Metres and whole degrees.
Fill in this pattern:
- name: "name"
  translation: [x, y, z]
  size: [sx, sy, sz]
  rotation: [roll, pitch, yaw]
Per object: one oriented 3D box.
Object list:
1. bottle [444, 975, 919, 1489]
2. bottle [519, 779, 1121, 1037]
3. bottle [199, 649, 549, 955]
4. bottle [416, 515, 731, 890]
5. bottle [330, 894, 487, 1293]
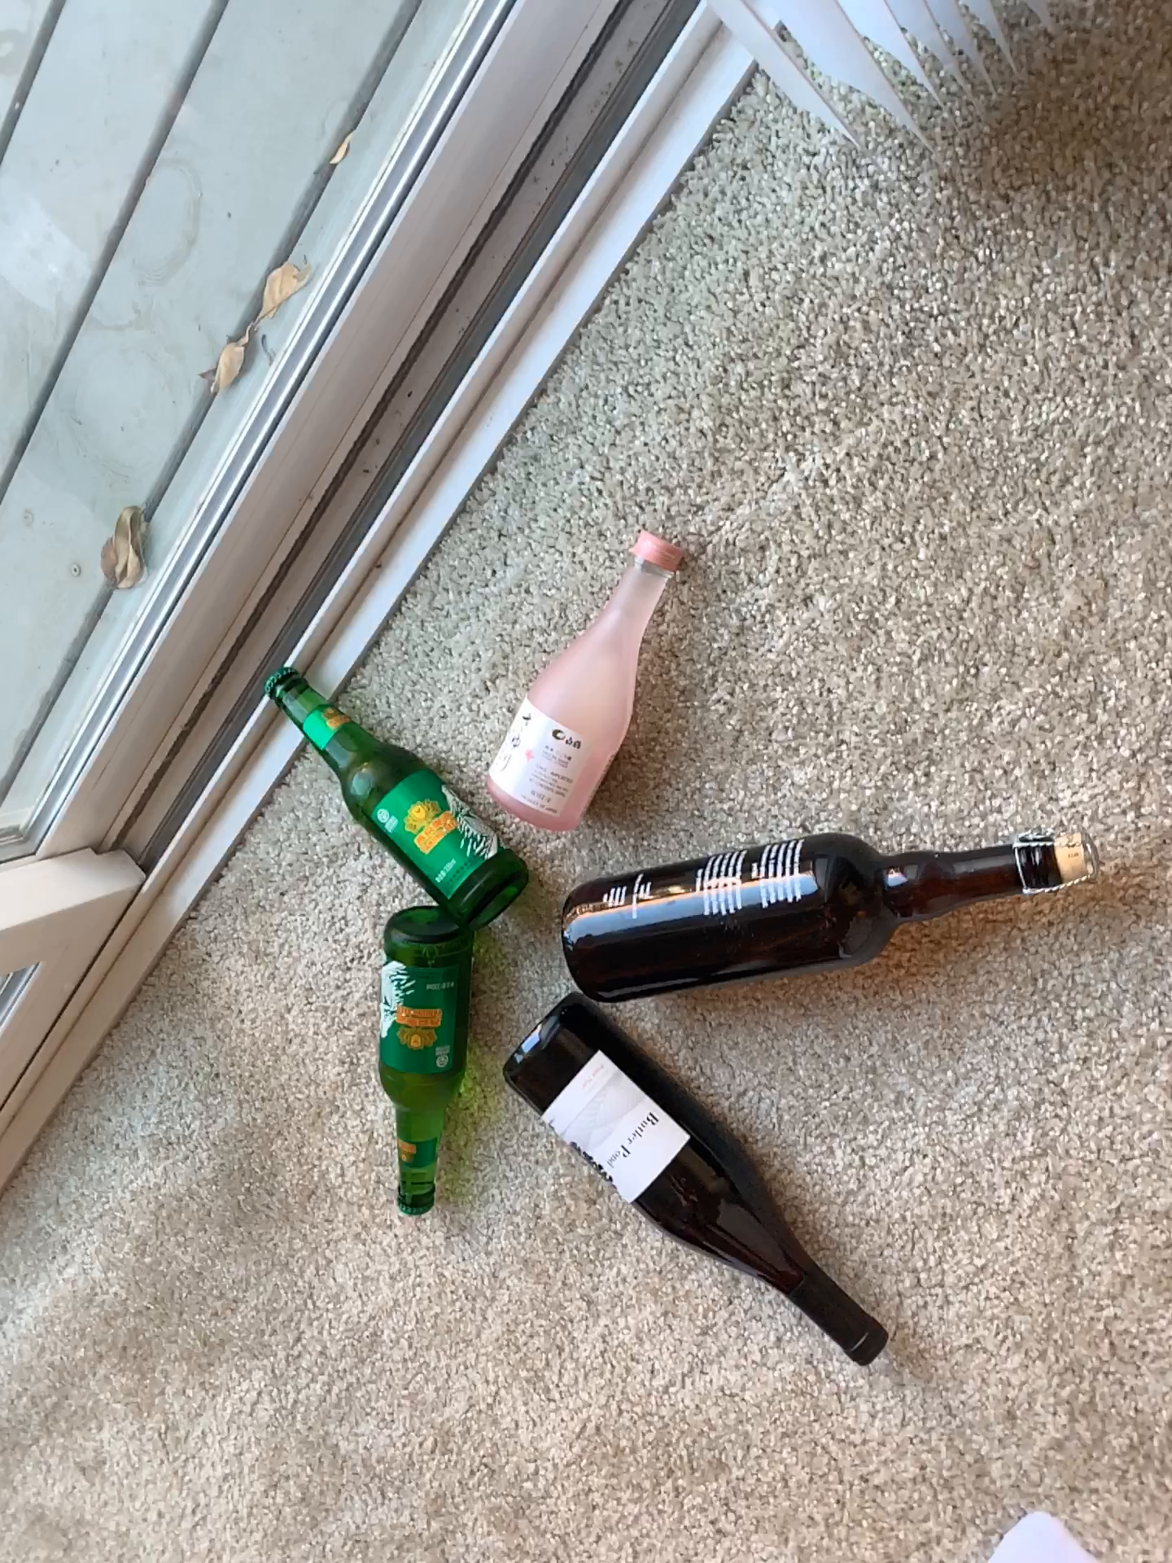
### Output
- name: "bottle"
  translation: [0.056, 0.262, 0.730]
  size: [0.300, 0.090, 0.070]
  rotation: [45, 116, 12]
- name: "bottle"
  translation: [0.122, 0.075, 0.669]
  size: [0.312, 0.090, 0.070]
  rotation: [-15, 94, 29]
- name: "bottle"
  translation: [-0.143, 0.007, 0.800]
  size: [0.230, 0.080, 0.060]
  rotation: [40, 115, 15]
- name: "bottle"
  translation: [-0.009, -0.047, 0.694]
  size: [0.070, 0.090, 0.201]
  rotation: [36, 114, 16]
- name: "bottle"
  translation: [-0.121, 0.208, 0.813]
  size: [0.060, 0.090, 0.240]
  rotation: [10, 105, 25]
